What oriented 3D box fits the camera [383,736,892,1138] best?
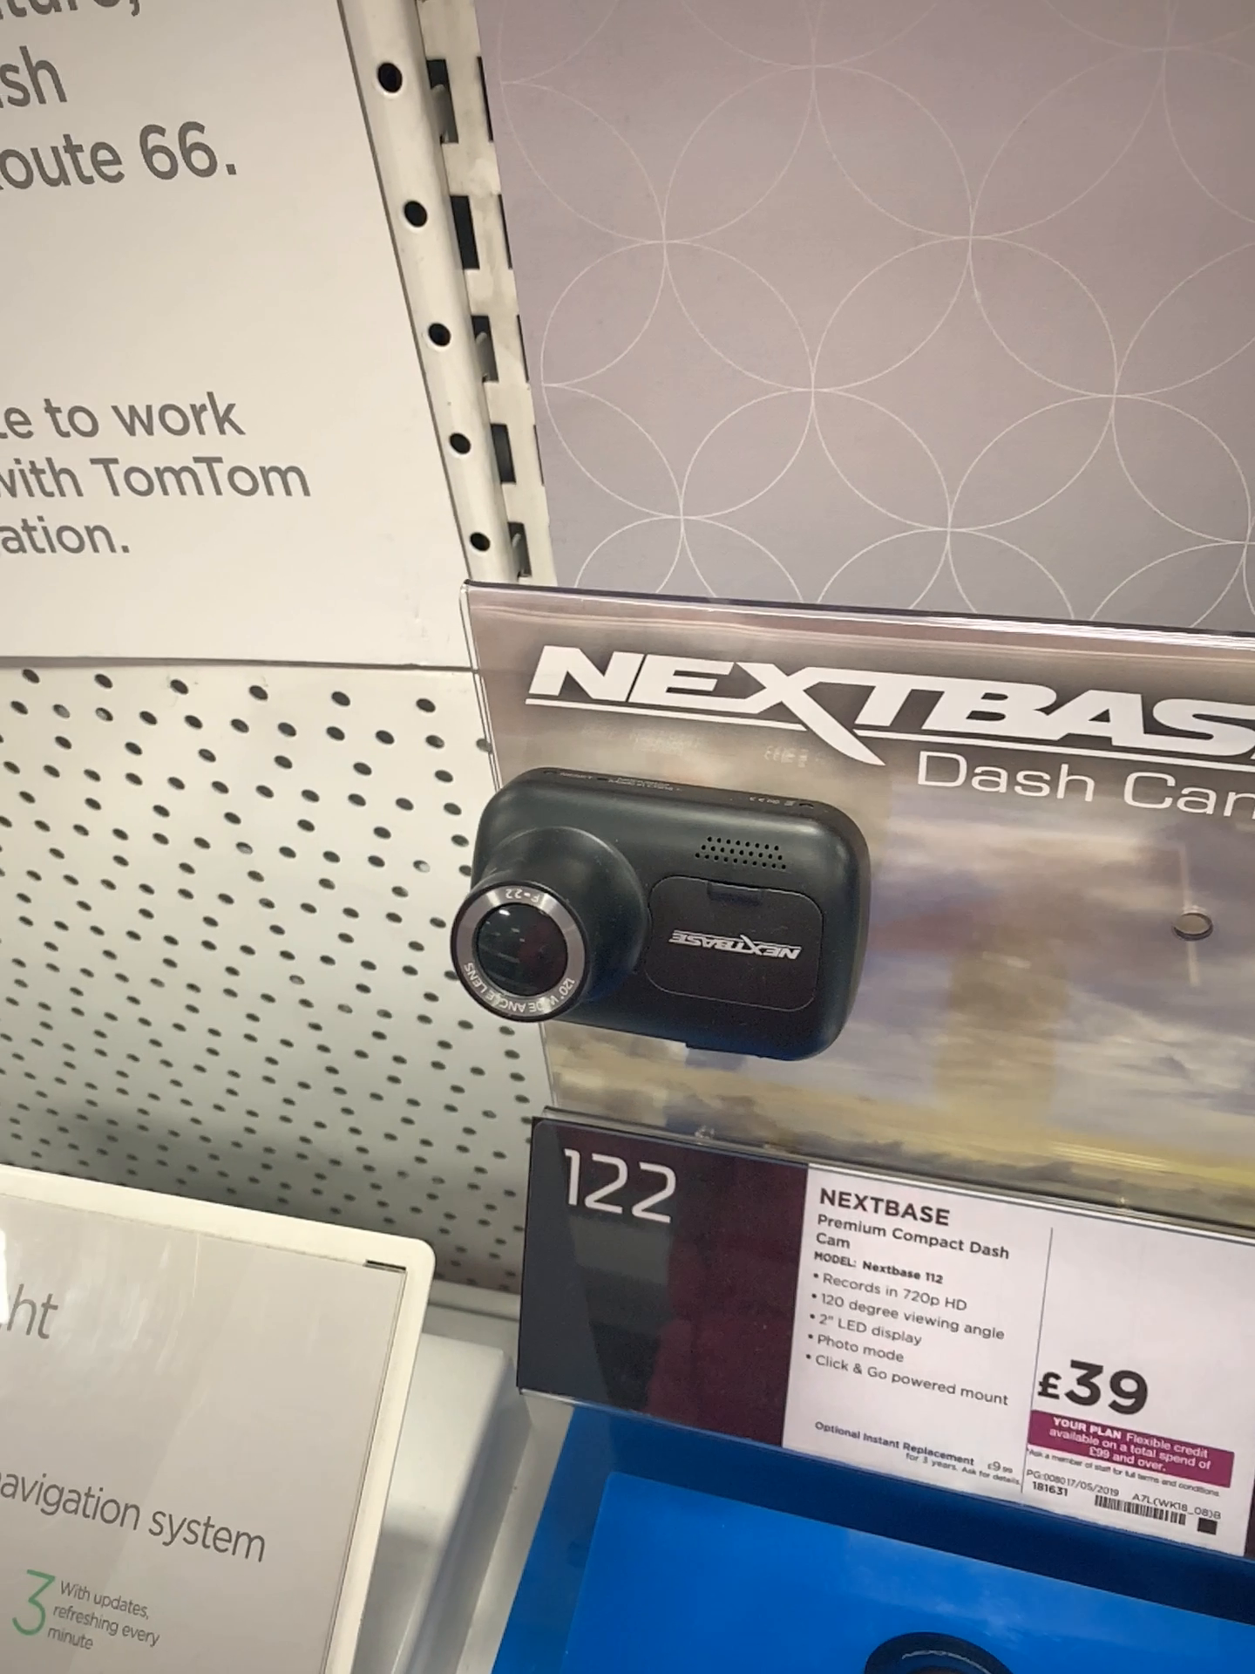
[{"bbox_3d":[0.004,0.014,0.250,0.080,0.050,0.060,8,14,18],"label":"camera"}]
